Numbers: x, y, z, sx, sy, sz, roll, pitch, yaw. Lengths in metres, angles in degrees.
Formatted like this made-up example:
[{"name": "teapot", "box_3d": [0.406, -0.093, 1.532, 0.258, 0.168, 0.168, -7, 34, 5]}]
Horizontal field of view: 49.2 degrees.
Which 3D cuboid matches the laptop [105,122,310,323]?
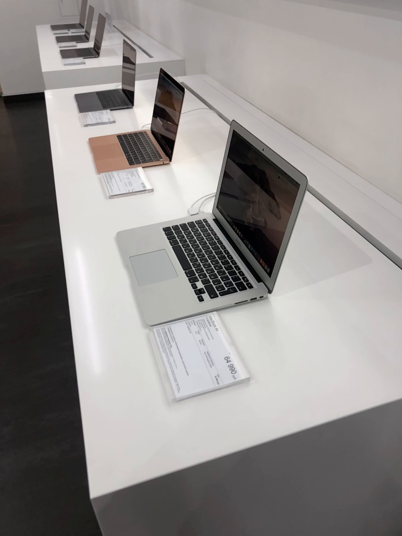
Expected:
[{"name": "laptop", "box_3d": [-0.008, -0.106, 0.820, 0.270, 0.207, 0.317, -12, 36, -13]}]
